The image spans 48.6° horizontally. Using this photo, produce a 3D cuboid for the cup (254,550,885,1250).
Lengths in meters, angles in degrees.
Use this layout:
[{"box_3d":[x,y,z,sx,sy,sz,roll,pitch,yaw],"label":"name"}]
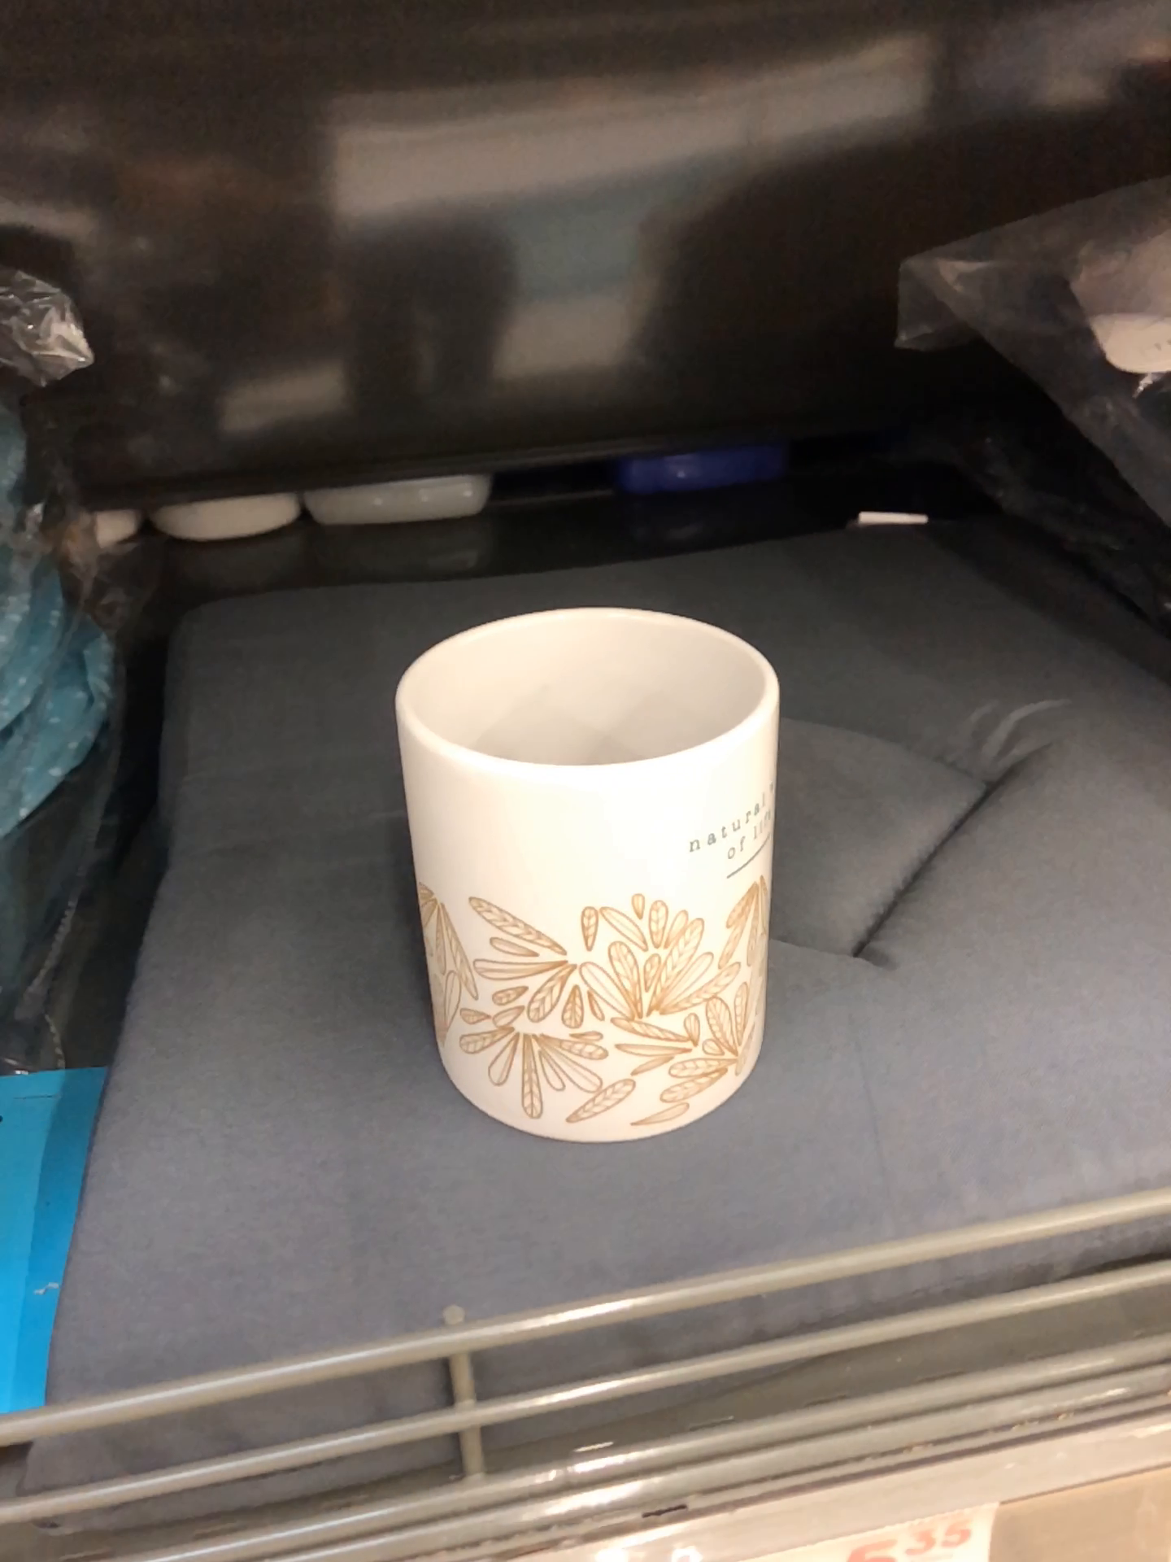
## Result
[{"box_3d":[0.004,0.017,0.311,0.090,0.099,0.121,14,34,28],"label":"cup"}]
